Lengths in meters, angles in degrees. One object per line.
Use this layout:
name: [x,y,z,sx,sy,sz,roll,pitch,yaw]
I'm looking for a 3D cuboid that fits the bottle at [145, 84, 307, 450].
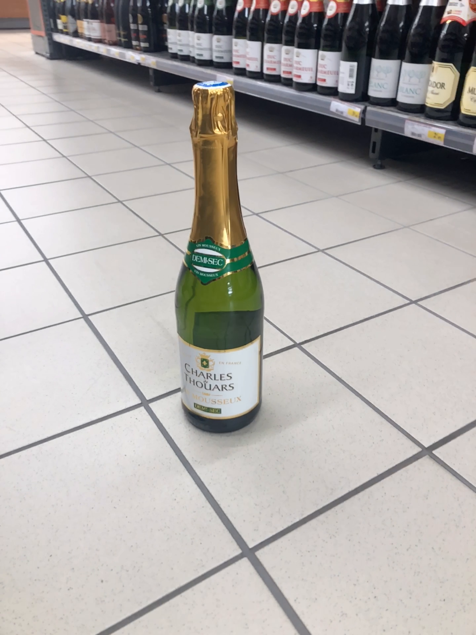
bottle: [-0.006,-0.037,0.462,0.090,0.298,0.091,0,30,0]
